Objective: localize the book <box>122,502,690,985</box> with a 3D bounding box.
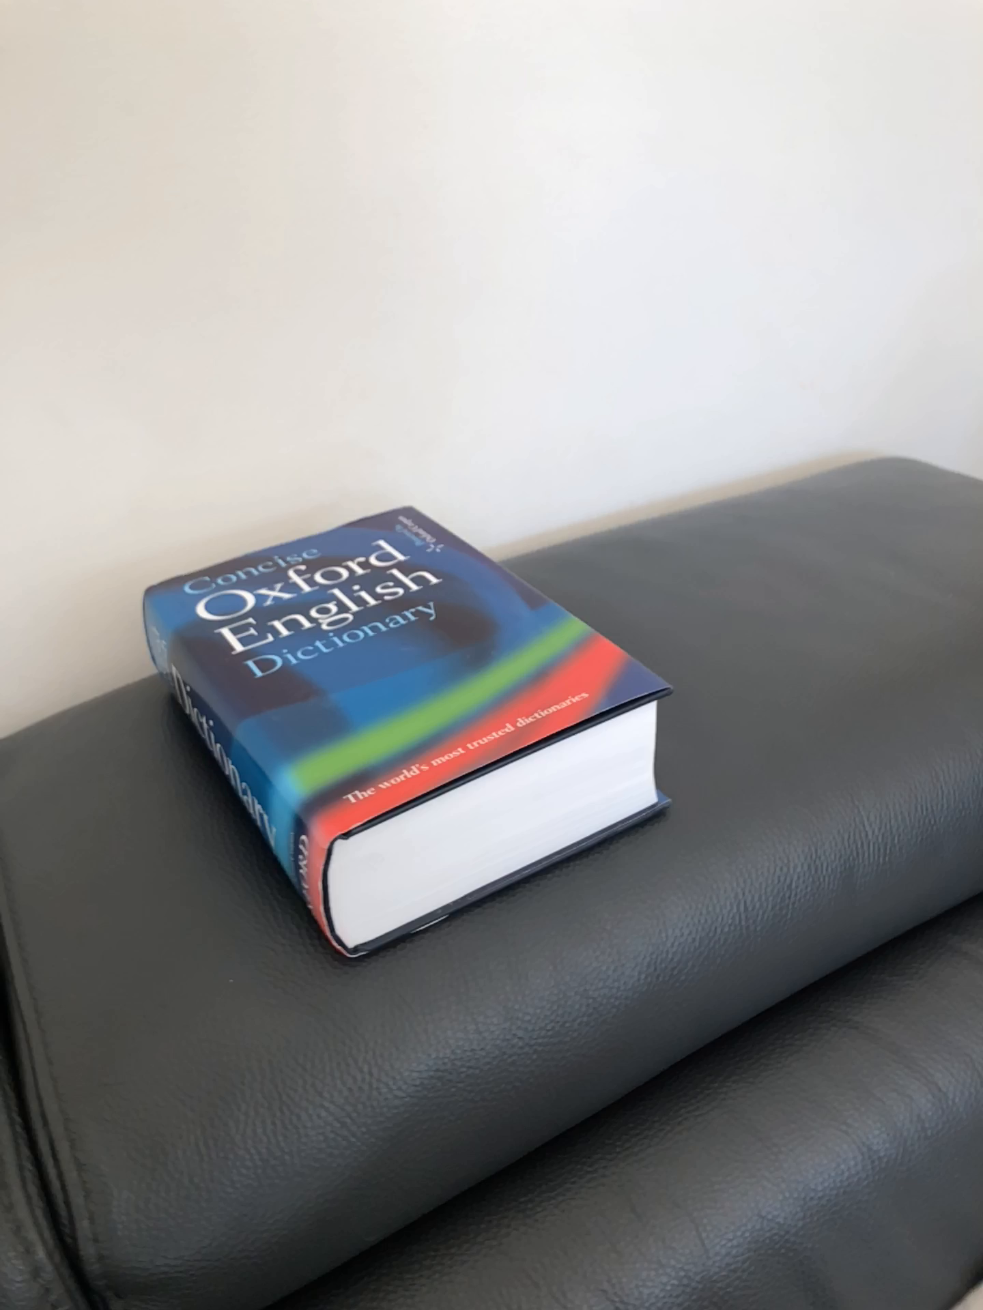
[{"bbox_3d":[-0.052,0.018,0.528,0.171,0.070,0.250,-21,34,-25],"label":"book"}]
